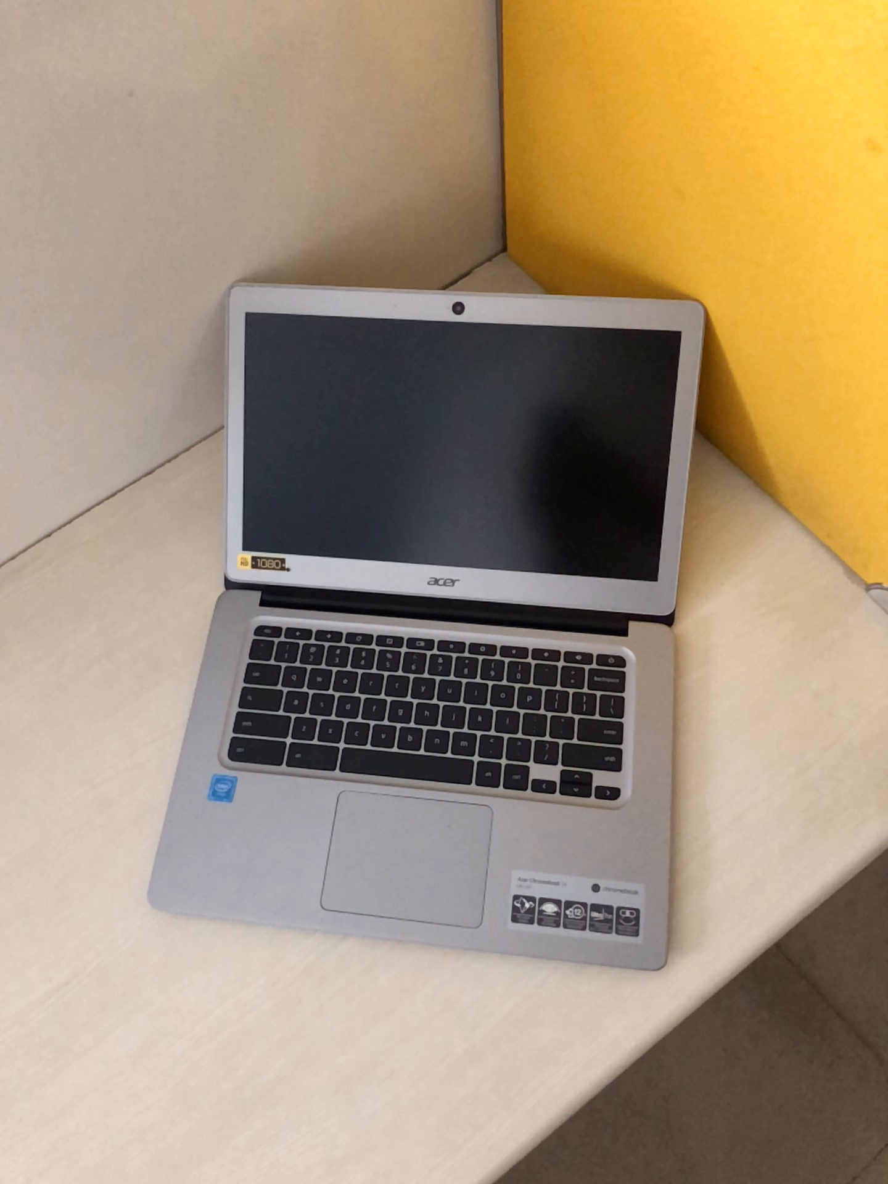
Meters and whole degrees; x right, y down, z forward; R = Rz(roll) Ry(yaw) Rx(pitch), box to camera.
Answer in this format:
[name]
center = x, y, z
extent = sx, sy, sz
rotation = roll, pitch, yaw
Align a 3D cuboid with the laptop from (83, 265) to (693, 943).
[laptop]
center = -0.011, -0.006, 0.651
extent = 0.319, 0.124, 0.410
rotation = 5, 67, 7
